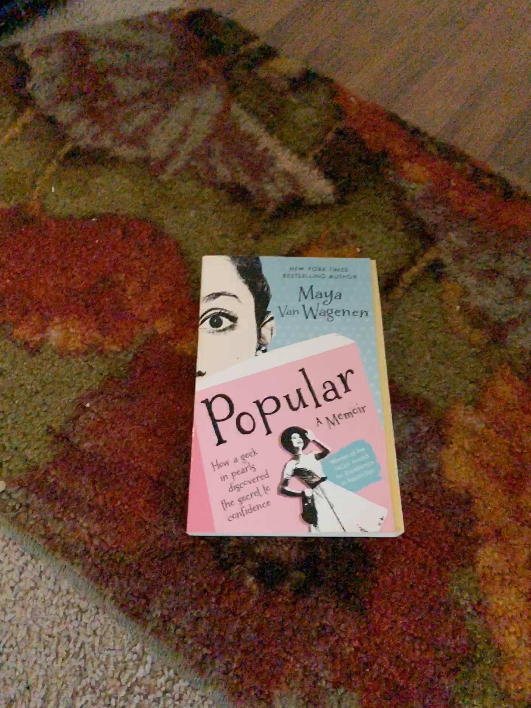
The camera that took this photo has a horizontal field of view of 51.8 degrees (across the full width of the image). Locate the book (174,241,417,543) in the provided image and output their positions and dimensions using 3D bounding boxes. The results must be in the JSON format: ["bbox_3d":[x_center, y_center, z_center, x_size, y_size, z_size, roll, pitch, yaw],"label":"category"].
[{"bbox_3d":[0.018,0.019,0.396,0.150,0.030,0.220,1,65,-2],"label":"book"}]
